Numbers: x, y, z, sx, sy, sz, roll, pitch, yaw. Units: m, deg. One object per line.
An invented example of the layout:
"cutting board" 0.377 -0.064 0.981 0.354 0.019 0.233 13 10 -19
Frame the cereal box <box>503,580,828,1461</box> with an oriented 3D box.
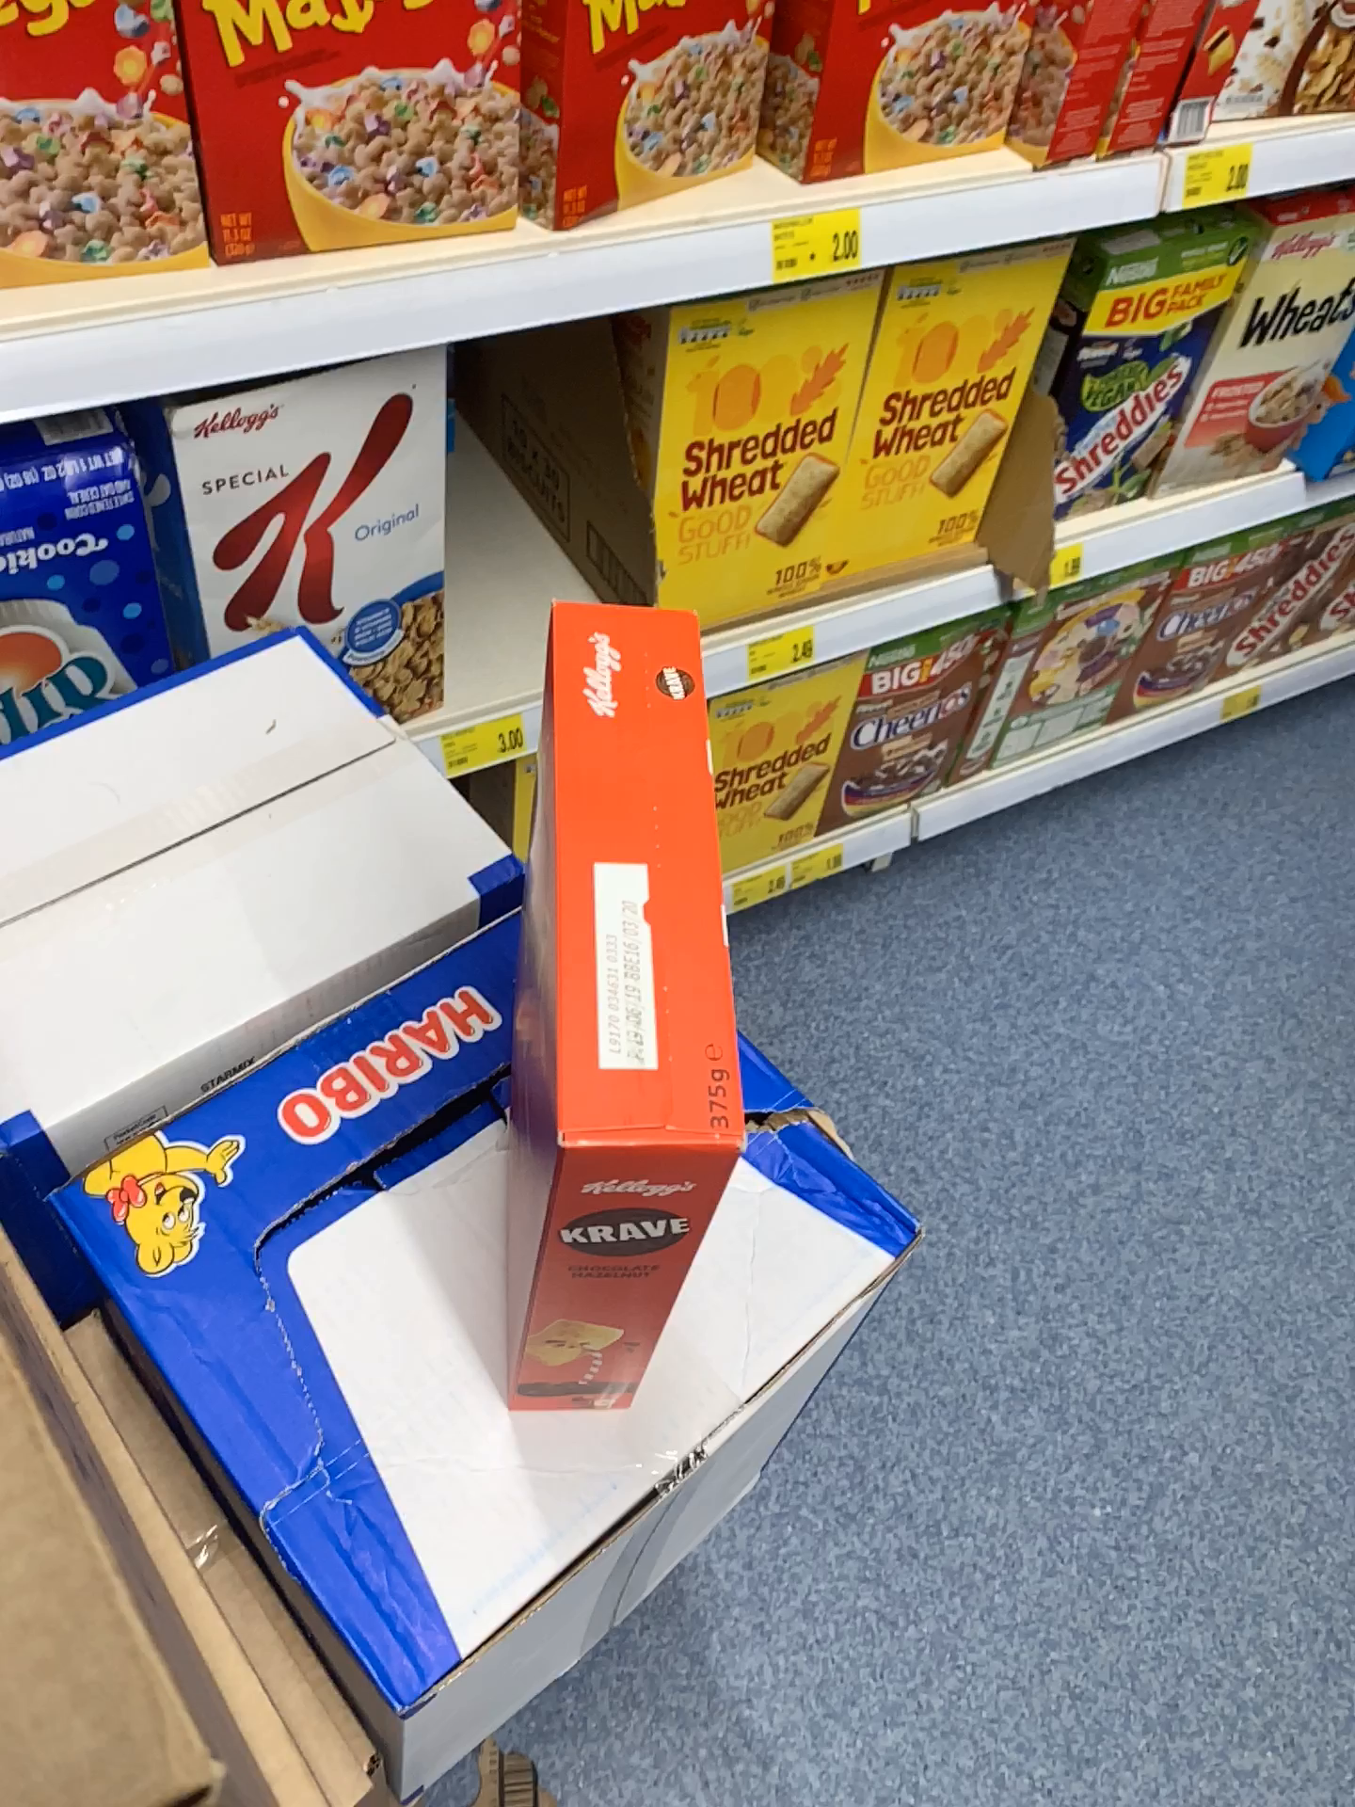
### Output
"cereal box" -0.021 0.052 0.470 0.060 0.238 0.202 2 54 -10
